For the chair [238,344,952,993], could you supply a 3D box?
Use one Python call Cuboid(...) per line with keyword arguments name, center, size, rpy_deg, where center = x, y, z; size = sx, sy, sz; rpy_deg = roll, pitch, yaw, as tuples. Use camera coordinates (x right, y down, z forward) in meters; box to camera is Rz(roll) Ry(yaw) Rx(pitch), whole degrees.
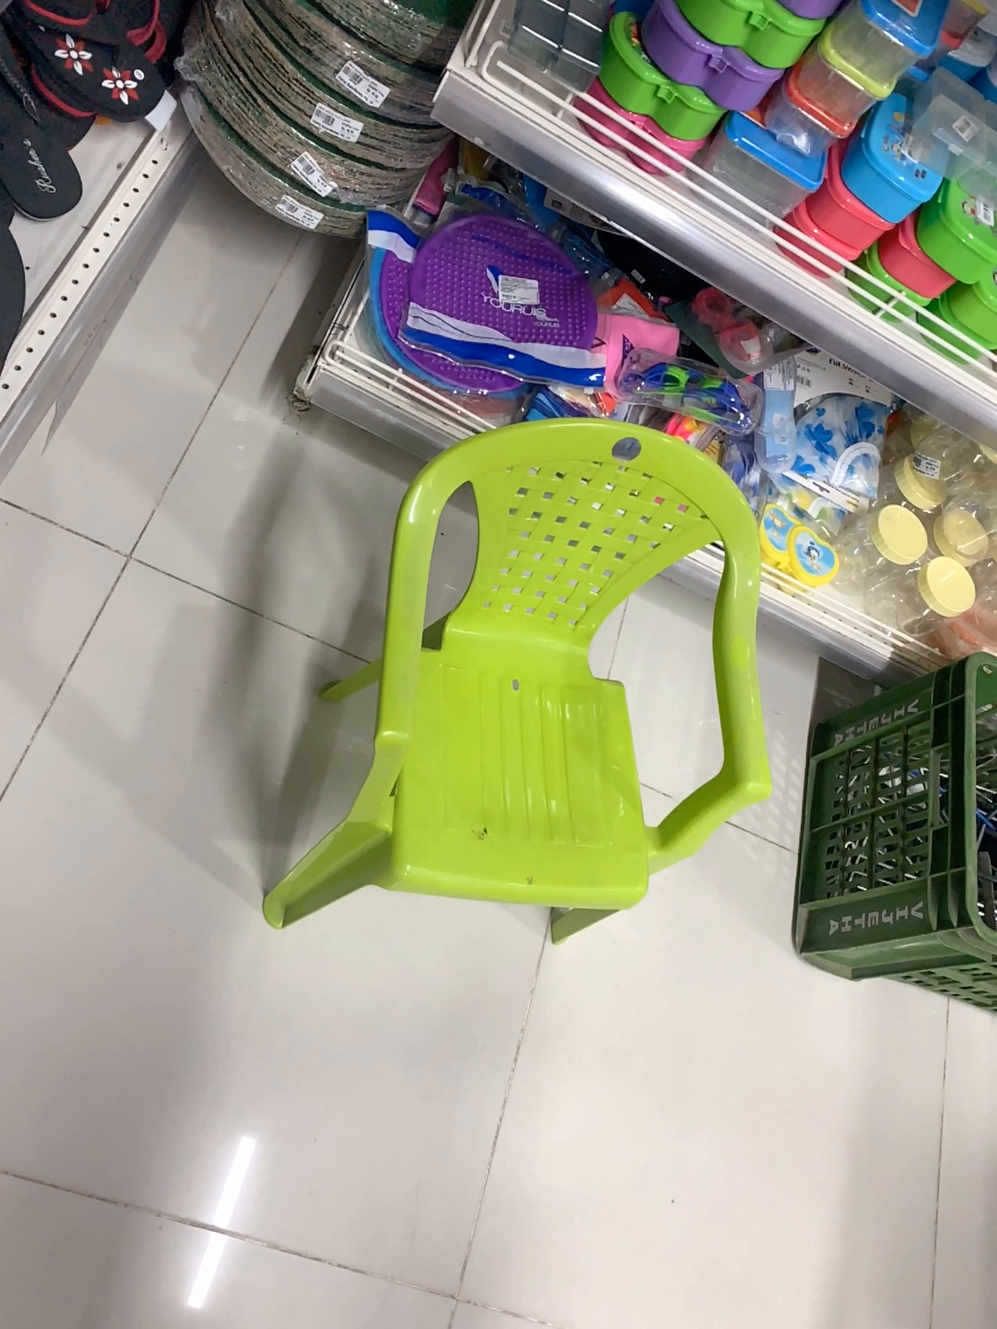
Cuboid(name="chair", center=(0.037, 0.068, 0.876), size=(0.391, 0.469, 0.360), rpy_deg=(11, 66, -21))
